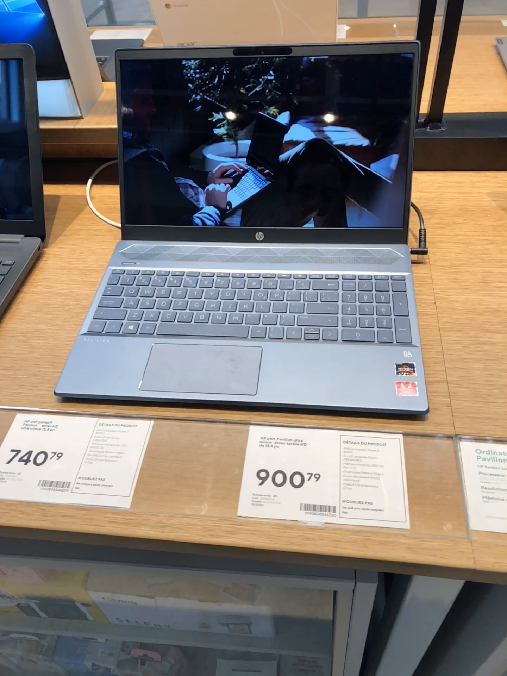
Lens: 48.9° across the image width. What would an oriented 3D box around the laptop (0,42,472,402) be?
[{"bbox_3d":[0.000,-0.142,0.574,0.338,0.185,0.357,2,46,6],"label":"laptop"}]
